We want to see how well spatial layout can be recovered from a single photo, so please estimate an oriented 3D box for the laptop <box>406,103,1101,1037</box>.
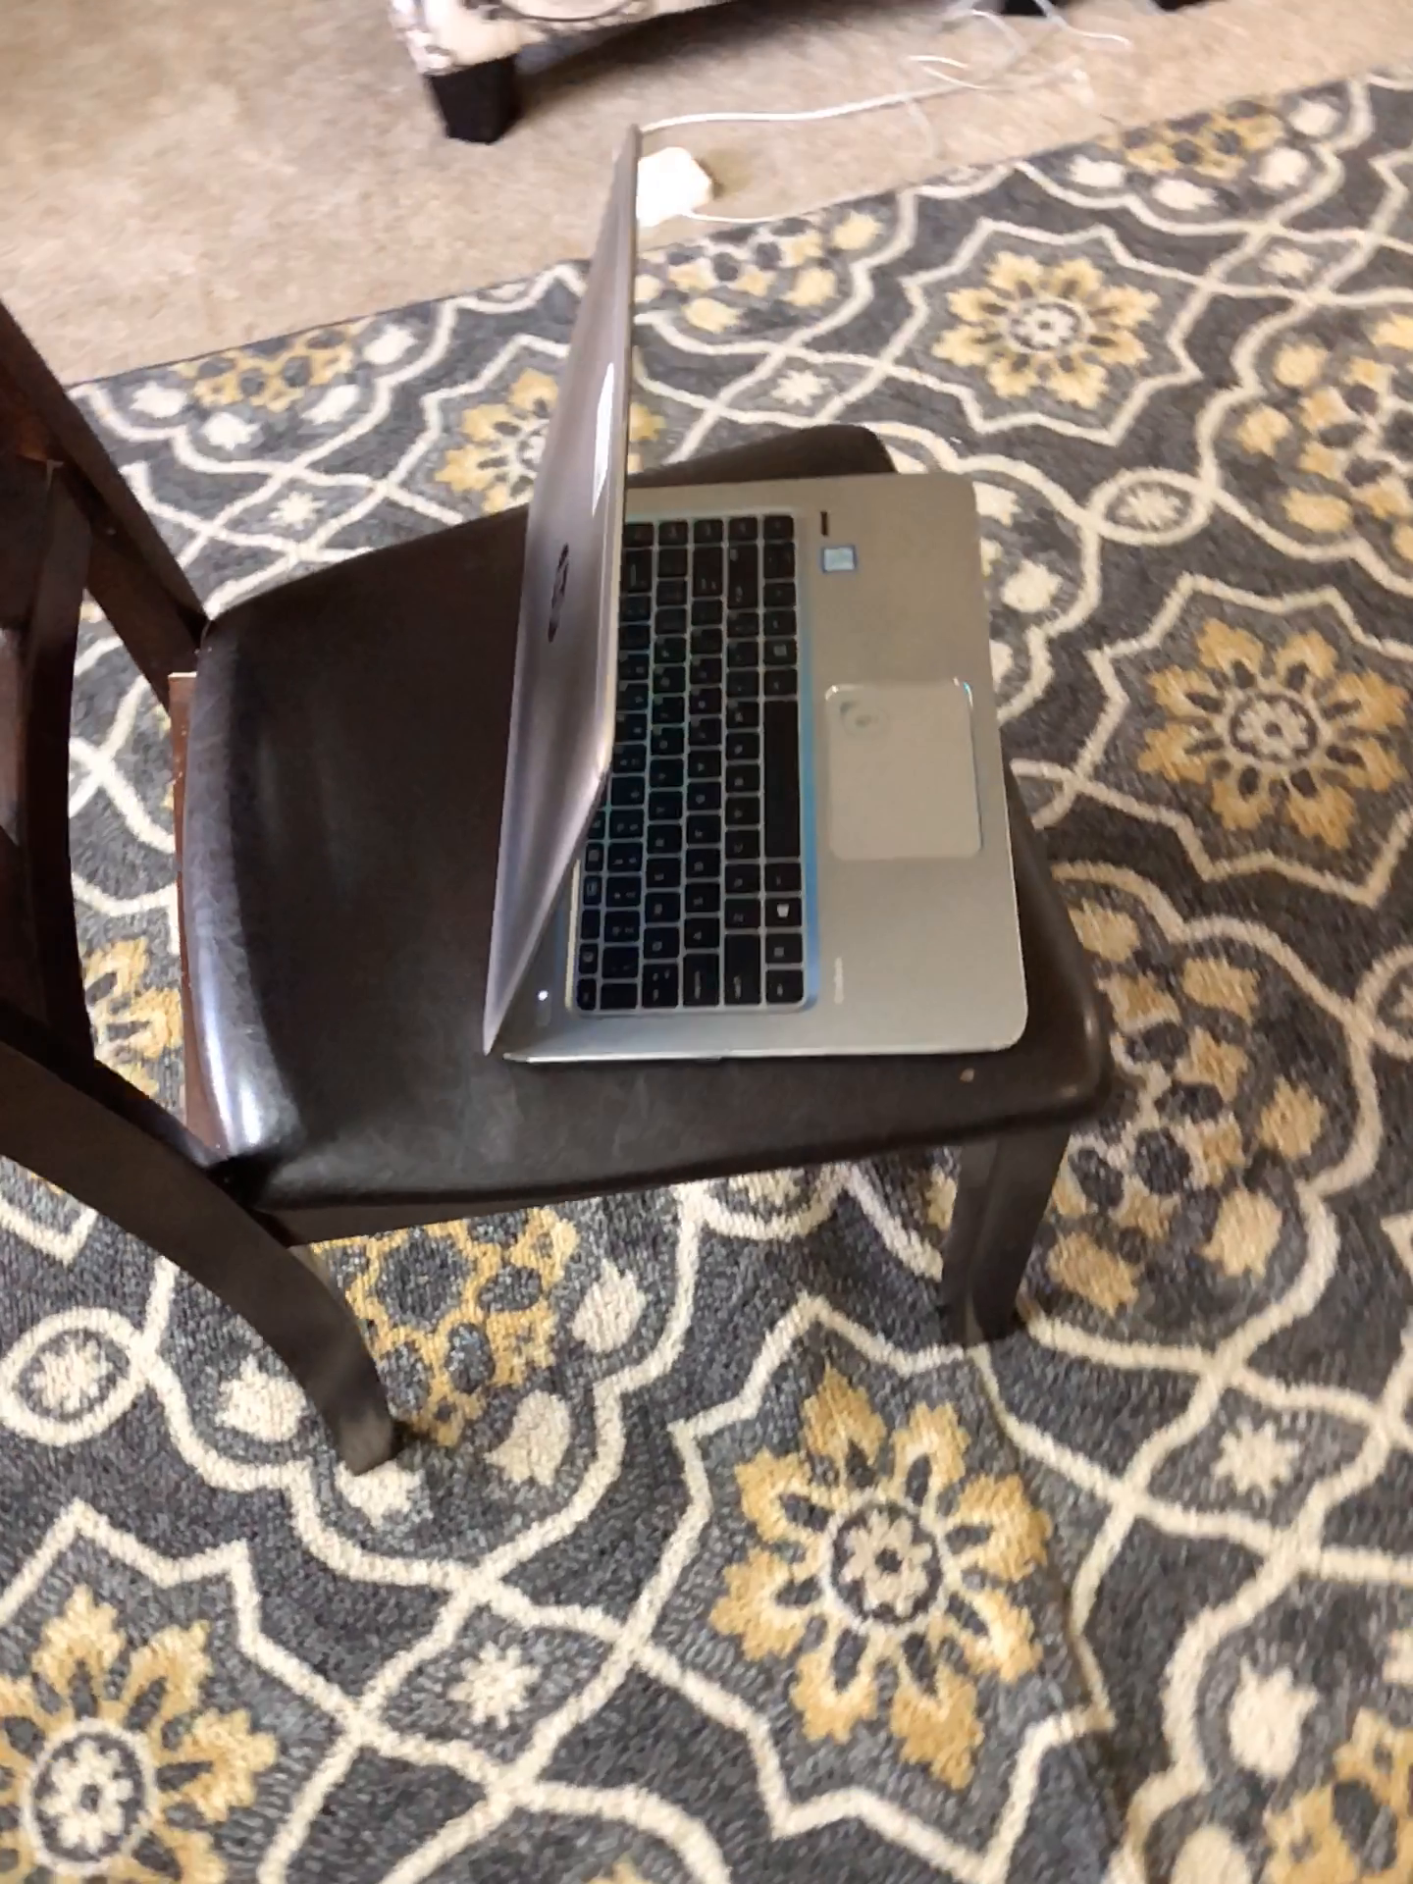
[{"bbox_3d":[0.022,-0.150,0.638,0.211,0.194,0.323,-2,59,4],"label":"laptop"}]
